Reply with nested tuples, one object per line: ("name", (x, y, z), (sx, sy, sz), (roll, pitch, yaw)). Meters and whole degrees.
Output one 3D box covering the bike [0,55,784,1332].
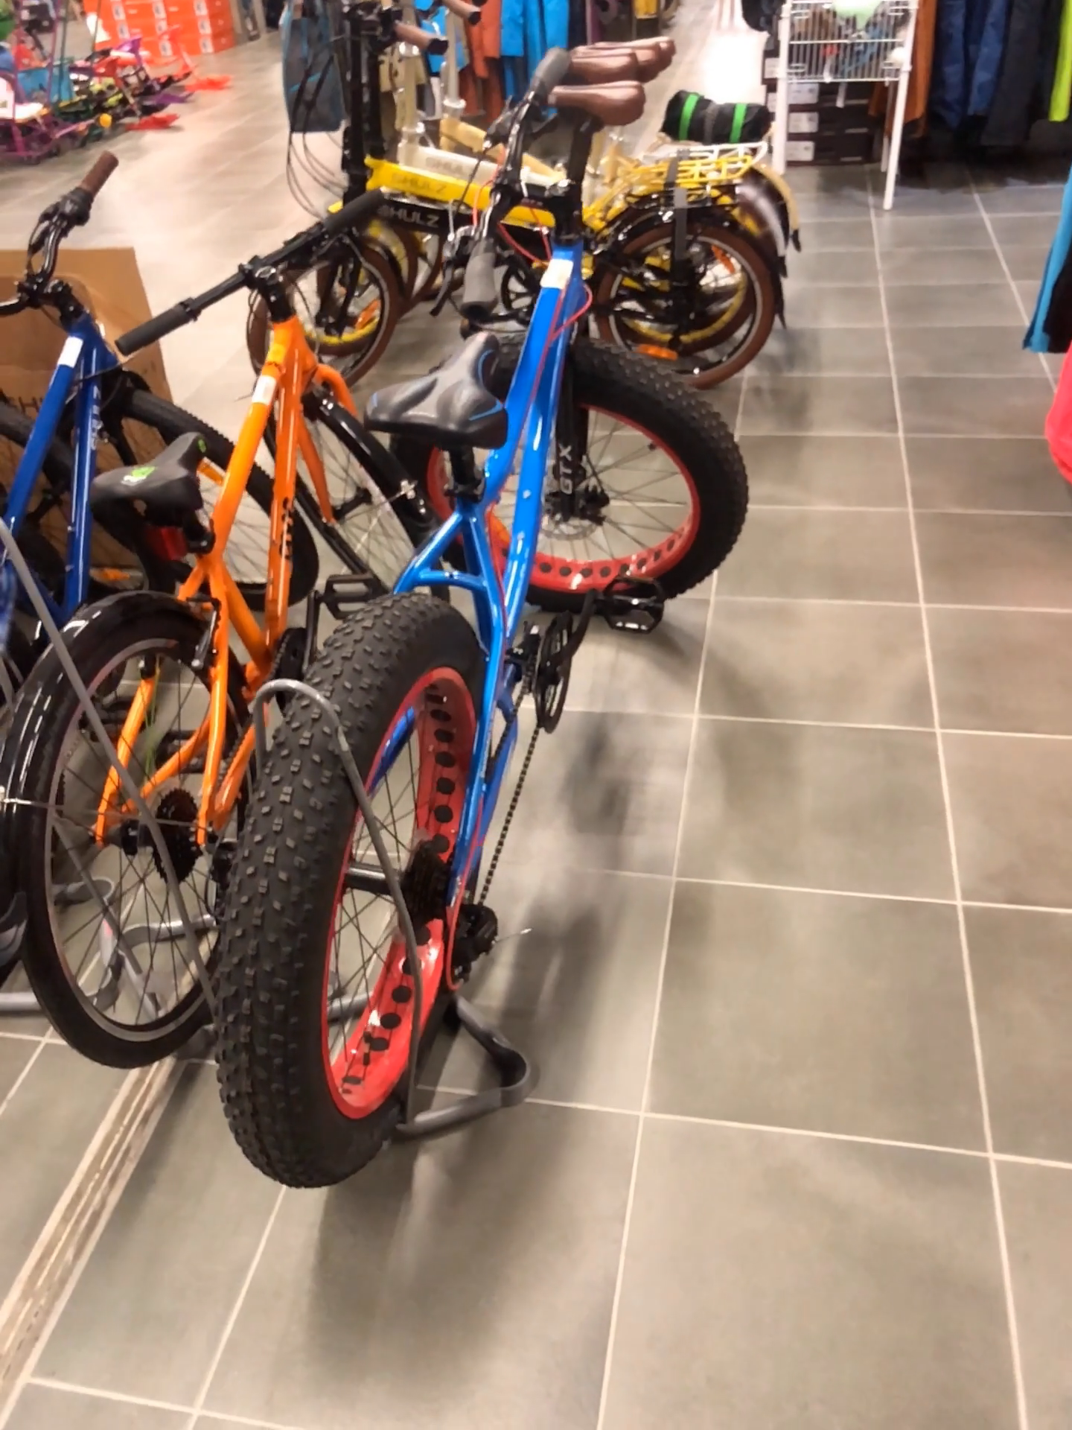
("bike", (-0.017, -0.194, 1.583), (0.614, 1.023, 1.475), (3, 36, 10))
